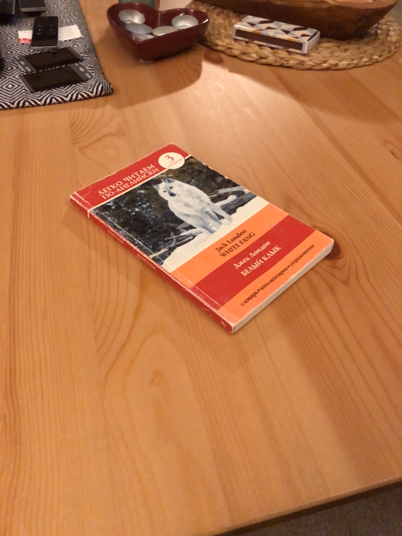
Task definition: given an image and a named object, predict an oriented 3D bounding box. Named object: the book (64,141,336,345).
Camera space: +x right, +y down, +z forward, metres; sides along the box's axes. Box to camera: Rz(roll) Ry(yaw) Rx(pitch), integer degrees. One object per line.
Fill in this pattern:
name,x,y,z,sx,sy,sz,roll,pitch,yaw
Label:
book,-0.005,-0.039,0.393,0.205,0.020,0.129,37,55,27
